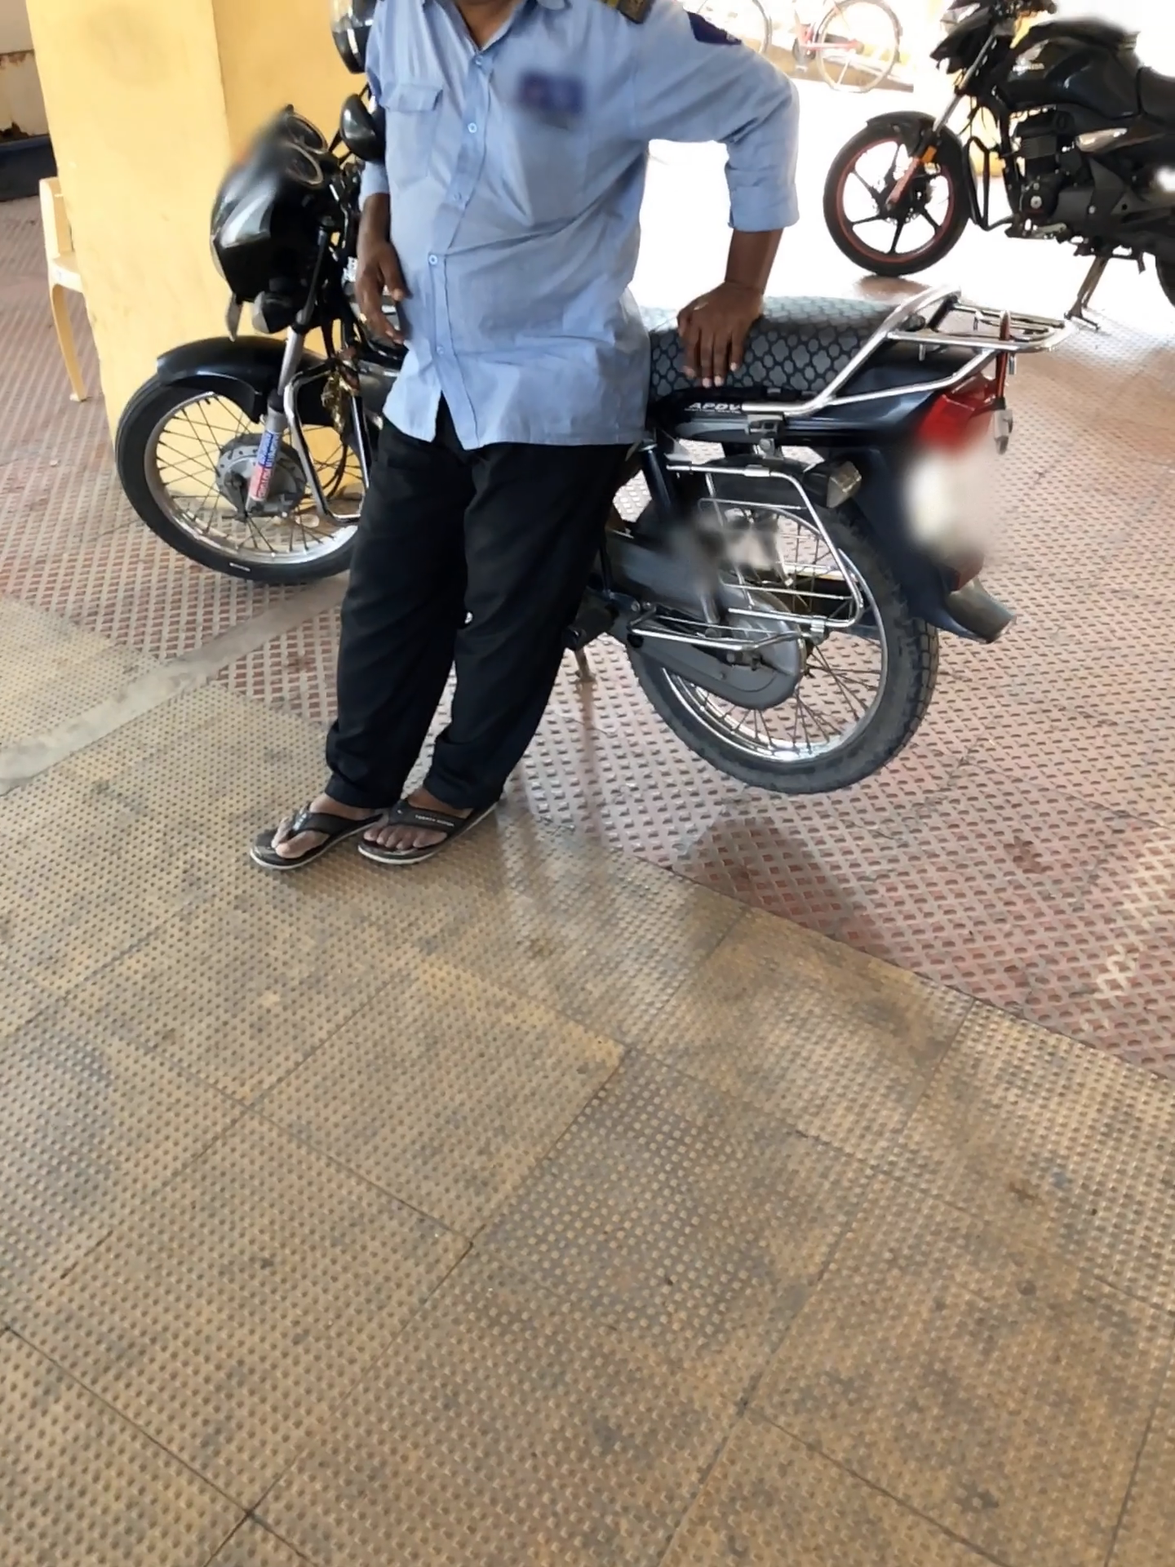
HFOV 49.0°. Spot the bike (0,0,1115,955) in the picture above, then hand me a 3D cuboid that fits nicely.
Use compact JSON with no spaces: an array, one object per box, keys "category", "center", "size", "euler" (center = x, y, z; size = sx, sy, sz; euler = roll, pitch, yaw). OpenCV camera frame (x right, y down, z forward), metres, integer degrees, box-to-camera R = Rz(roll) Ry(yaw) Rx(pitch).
[{"category":"bike","center":[-0.229,-0.613,2.142],"size":[1.675,1.036,0.682],"euler":[22,40,25]}]
